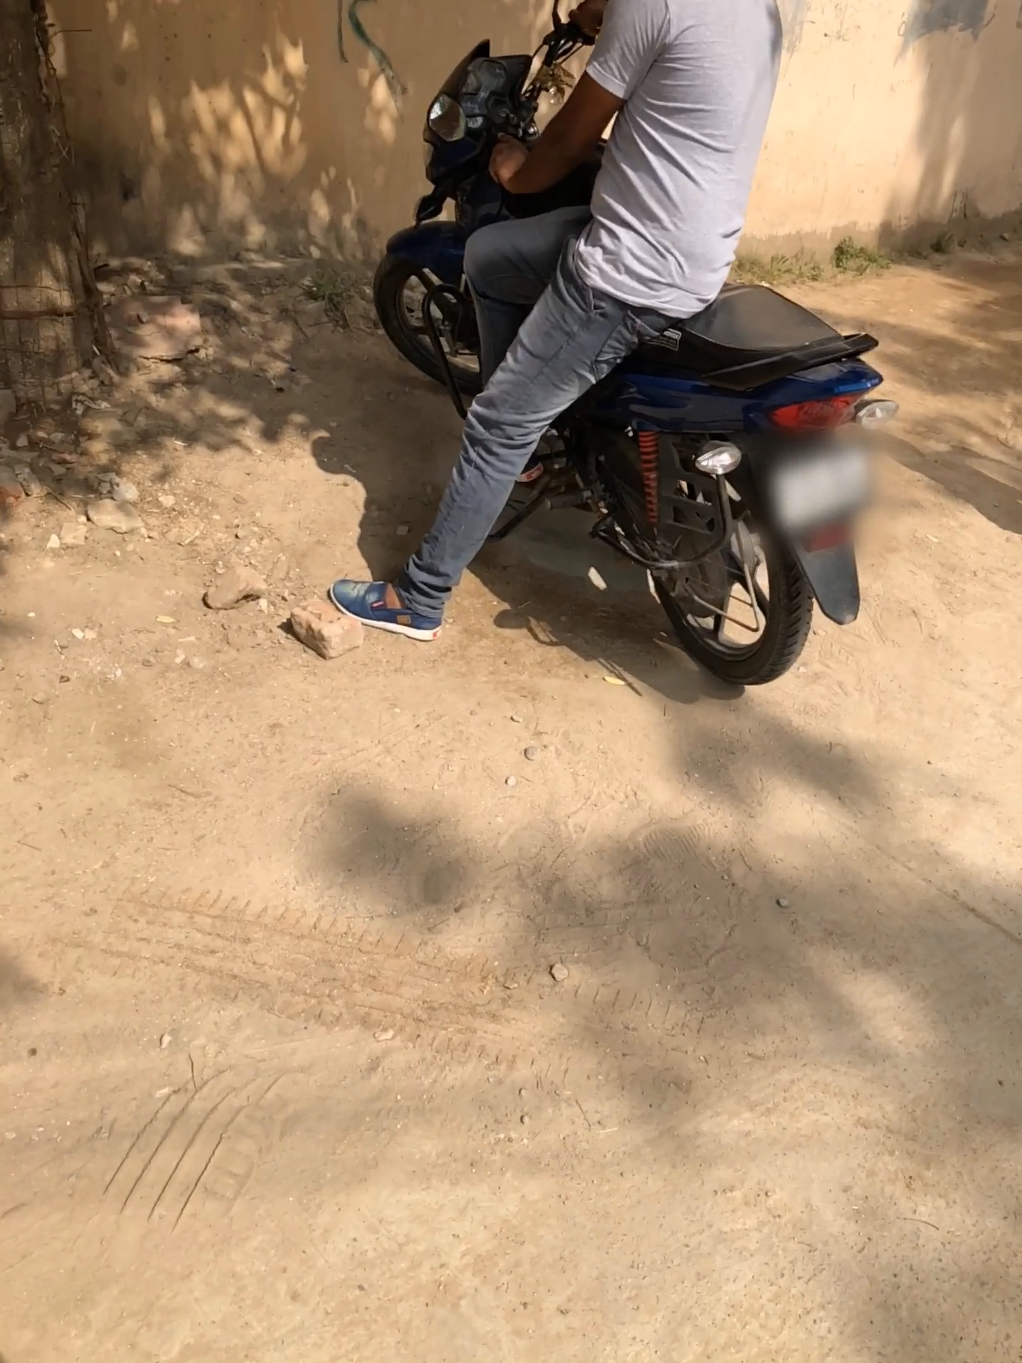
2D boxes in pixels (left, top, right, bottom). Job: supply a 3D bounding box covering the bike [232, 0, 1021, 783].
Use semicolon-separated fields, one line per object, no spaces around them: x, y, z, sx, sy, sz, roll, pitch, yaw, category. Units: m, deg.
0.049;-0.894;2.581;0.742;1.241;1.789;-13;40;-26;bike
